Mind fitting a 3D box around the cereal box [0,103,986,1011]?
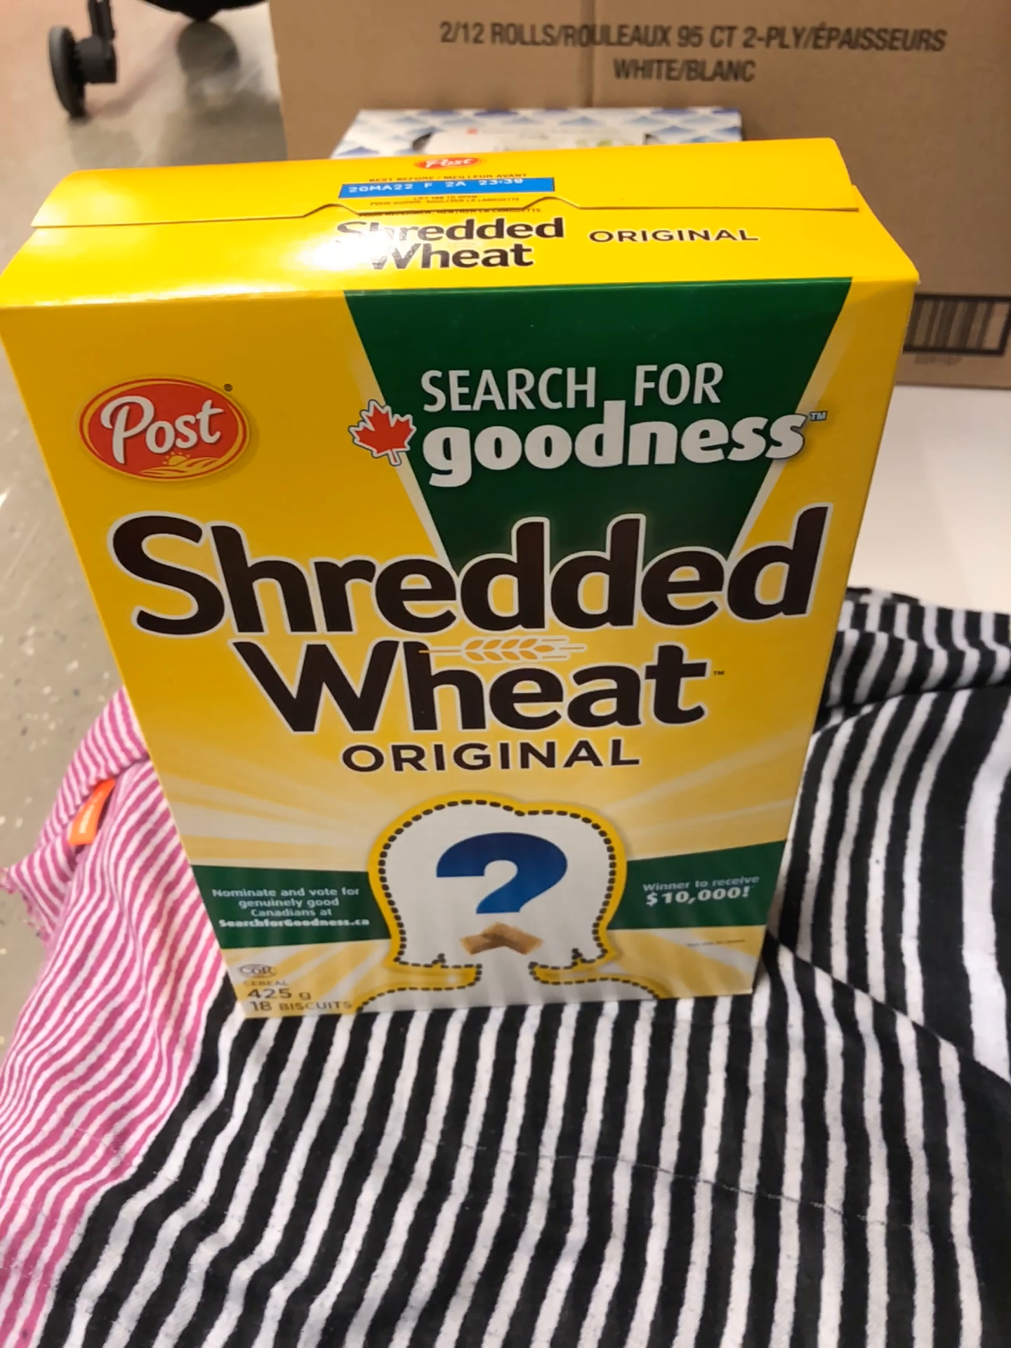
[{"bbox_3d":[-0.008,-0.010,0.341,0.210,0.269,0.080,-3,43,0],"label":"cereal box"}]
